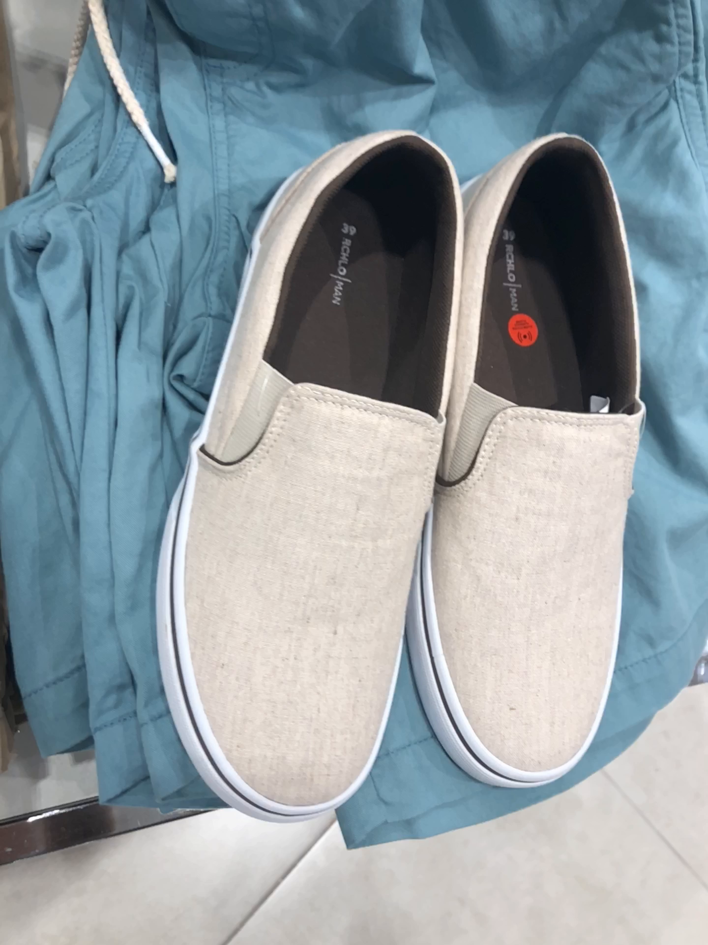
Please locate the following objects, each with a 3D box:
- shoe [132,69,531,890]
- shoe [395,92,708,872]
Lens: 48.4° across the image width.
[{"bbox_3d":[-0.013,0.005,0.304,0.100,0.090,0.260,9,85,-15],"label":"shoe"},{"bbox_3d":[0.079,0.003,0.320,0.100,0.090,0.260,1,87,-16],"label":"shoe"}]
